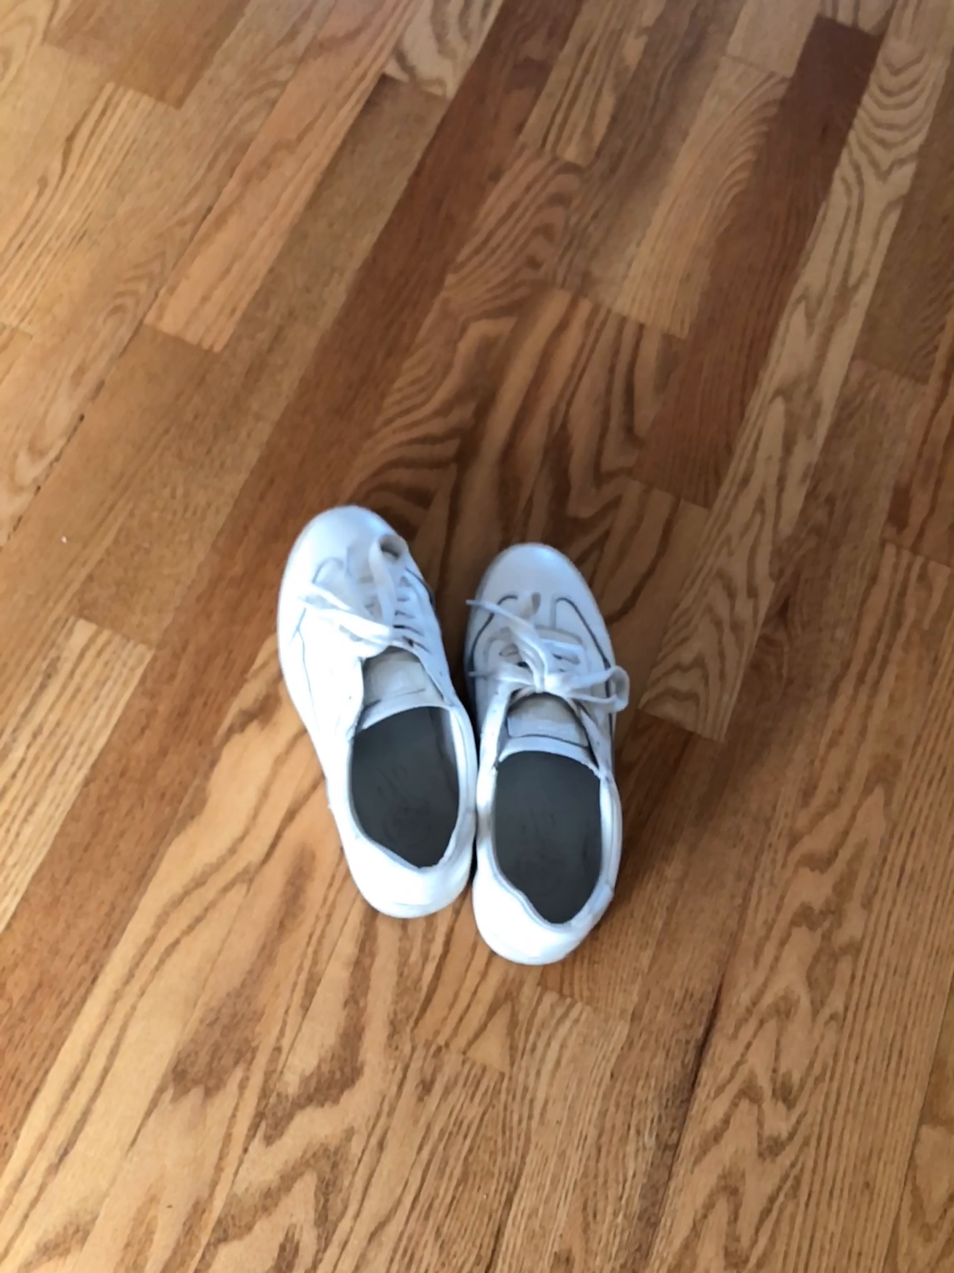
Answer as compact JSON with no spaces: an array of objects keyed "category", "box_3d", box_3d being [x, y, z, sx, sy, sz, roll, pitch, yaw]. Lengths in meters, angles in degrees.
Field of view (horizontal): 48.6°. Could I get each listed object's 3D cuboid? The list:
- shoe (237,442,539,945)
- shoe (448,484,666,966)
[{"category":"shoe","box_3d":[-0.057,0.035,0.621,0.102,0.104,0.260,-13,74,-10]},{"category":"shoe","box_3d":[0.043,0.055,0.622,0.102,0.107,0.260,3,71,-5]}]
